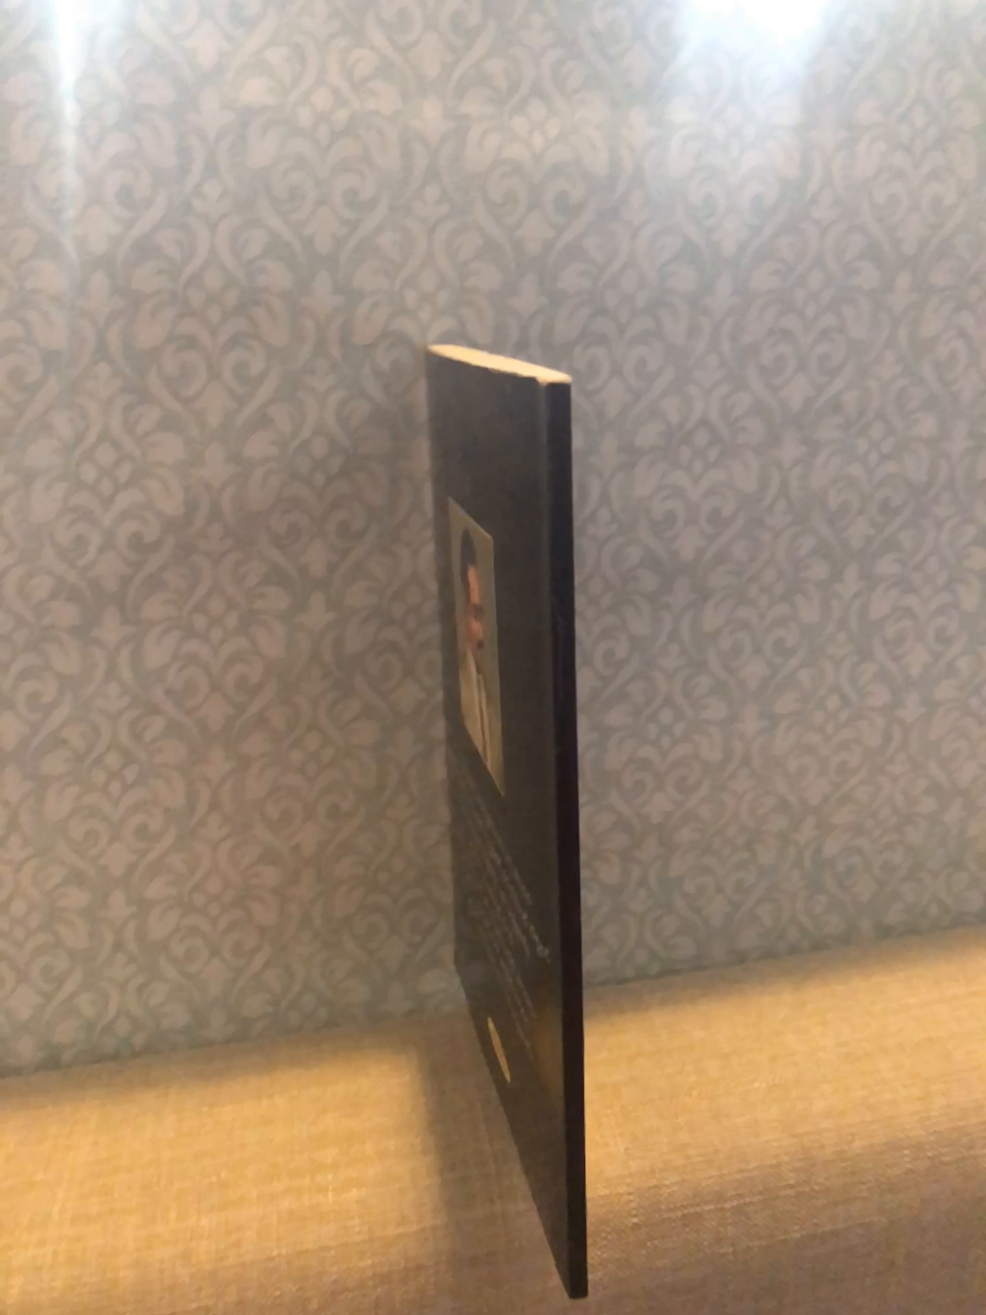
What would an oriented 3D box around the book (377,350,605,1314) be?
[{"bbox_3d":[-0.004,0.024,0.241,0.011,0.175,0.127,-6,17,-13],"label":"book"}]
